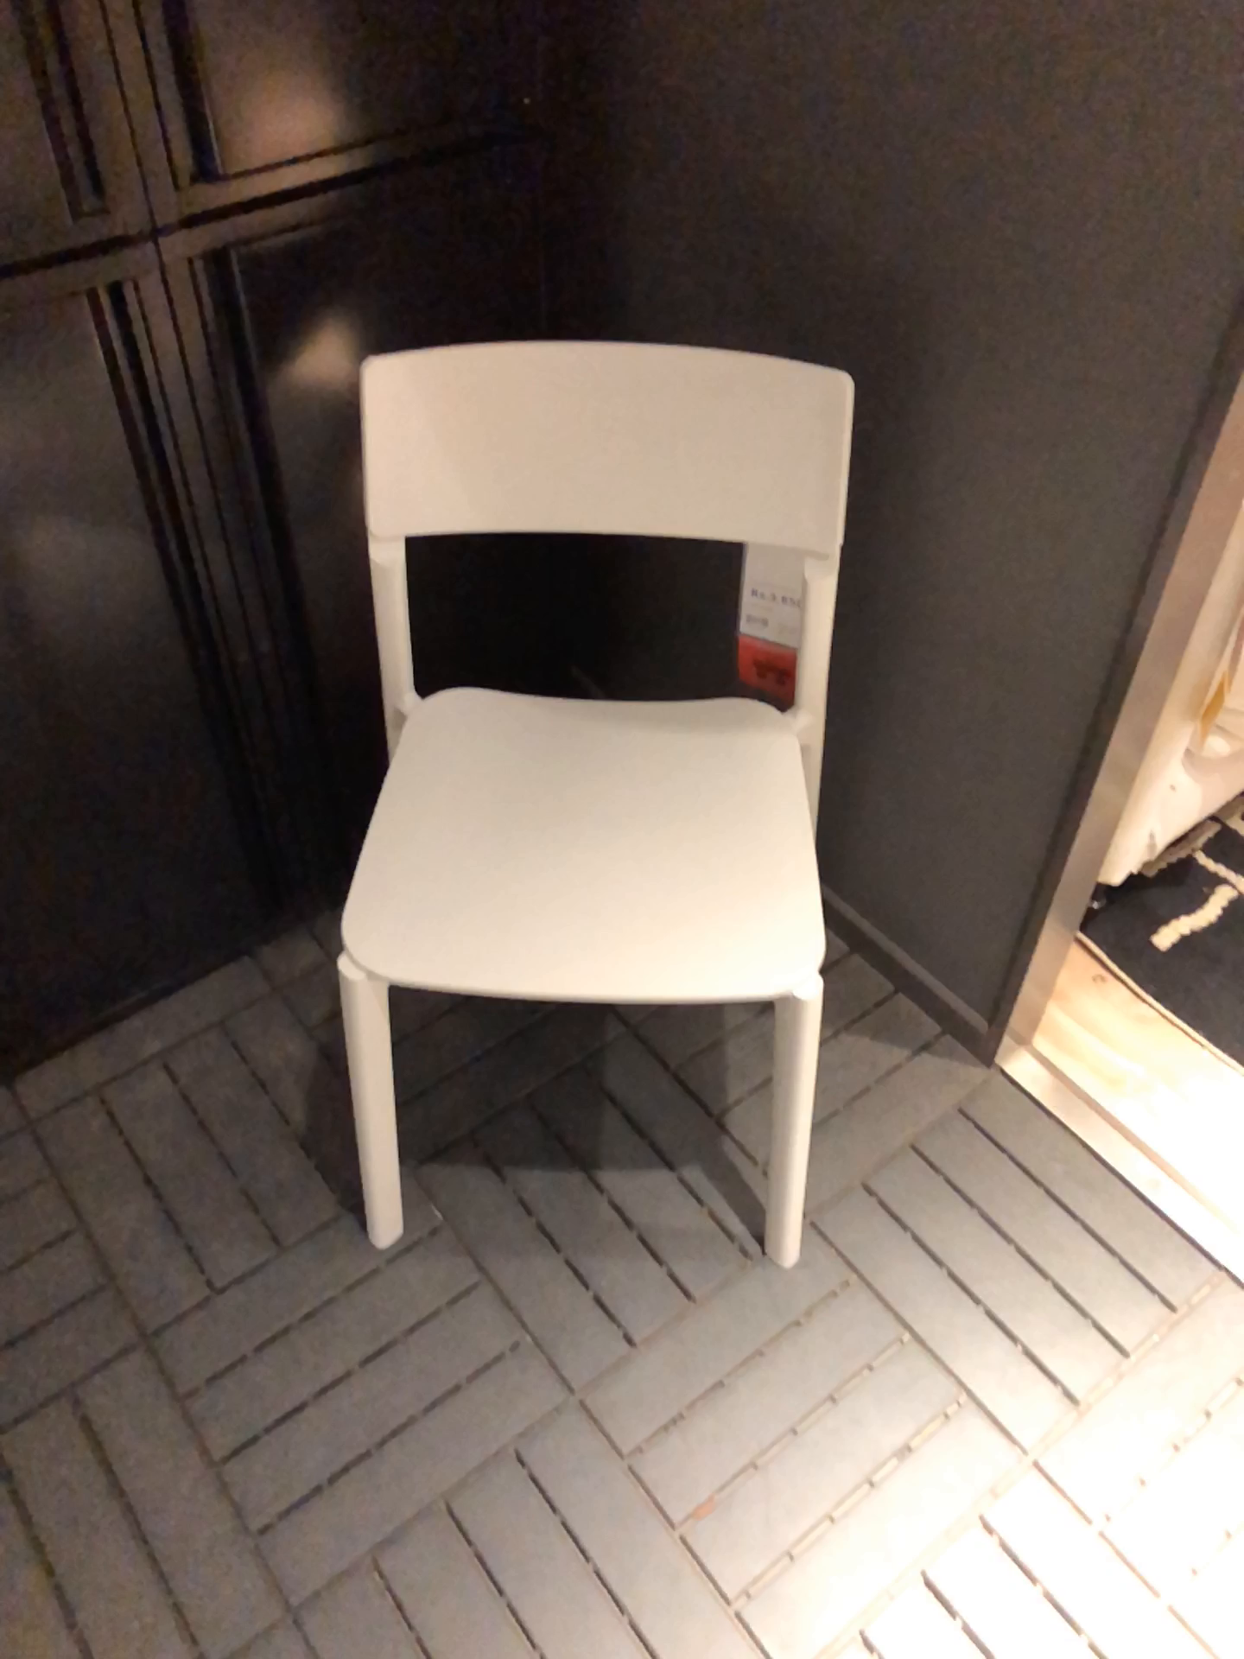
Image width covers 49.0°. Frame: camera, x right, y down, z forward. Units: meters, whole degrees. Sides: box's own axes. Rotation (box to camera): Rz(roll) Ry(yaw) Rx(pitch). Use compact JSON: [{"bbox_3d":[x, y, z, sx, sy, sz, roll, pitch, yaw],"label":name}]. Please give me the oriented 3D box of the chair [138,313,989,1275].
[{"bbox_3d":[-0.029,-0.003,1.217,0.500,0.705,0.473,3,46,1],"label":"chair"}]
